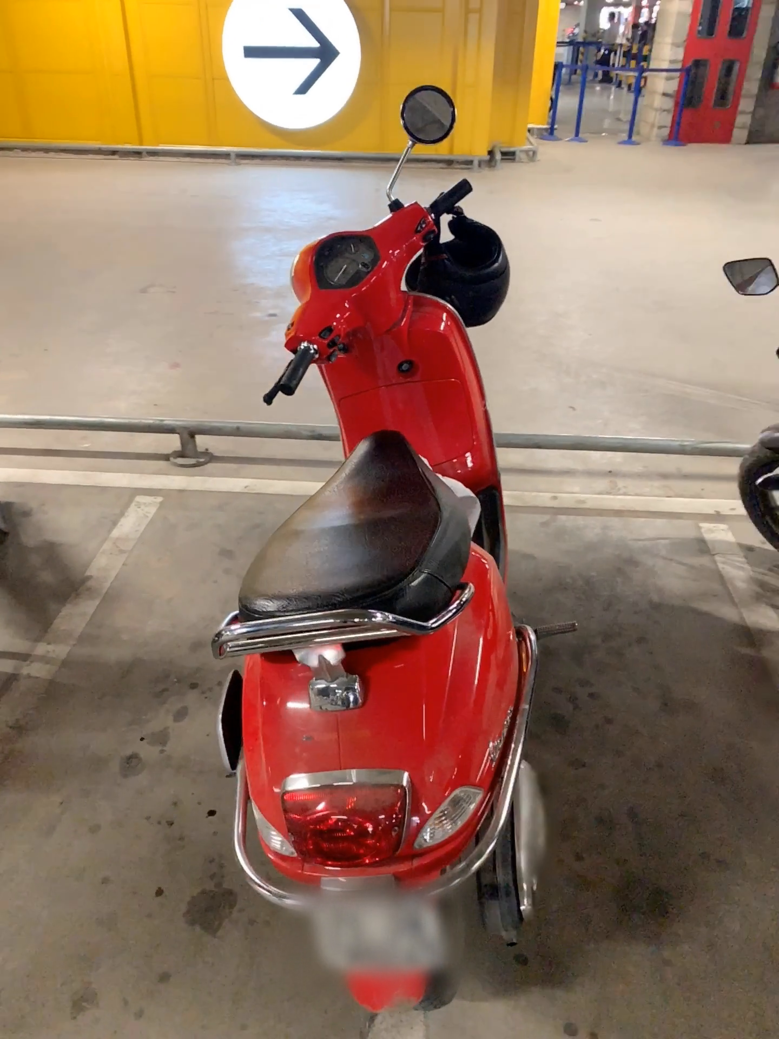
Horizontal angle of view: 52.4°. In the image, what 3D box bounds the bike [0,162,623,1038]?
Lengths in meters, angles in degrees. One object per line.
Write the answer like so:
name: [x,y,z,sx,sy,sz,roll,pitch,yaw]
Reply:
bike: [-0.141,-0.030,1.774,0.632,1.201,1.688,0,31,-2]
